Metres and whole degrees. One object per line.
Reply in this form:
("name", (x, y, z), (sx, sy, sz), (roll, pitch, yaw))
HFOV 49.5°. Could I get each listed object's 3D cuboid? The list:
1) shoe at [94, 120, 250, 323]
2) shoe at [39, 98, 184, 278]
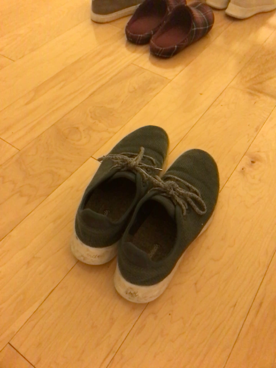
("shoe", (0.068, 0.042, 0.493), (0.100, 0.099, 0.322), (27, 57, 17))
("shoe", (-0.027, -0.010, 0.531), (0.100, 0.099, 0.312), (22, 56, 14))
